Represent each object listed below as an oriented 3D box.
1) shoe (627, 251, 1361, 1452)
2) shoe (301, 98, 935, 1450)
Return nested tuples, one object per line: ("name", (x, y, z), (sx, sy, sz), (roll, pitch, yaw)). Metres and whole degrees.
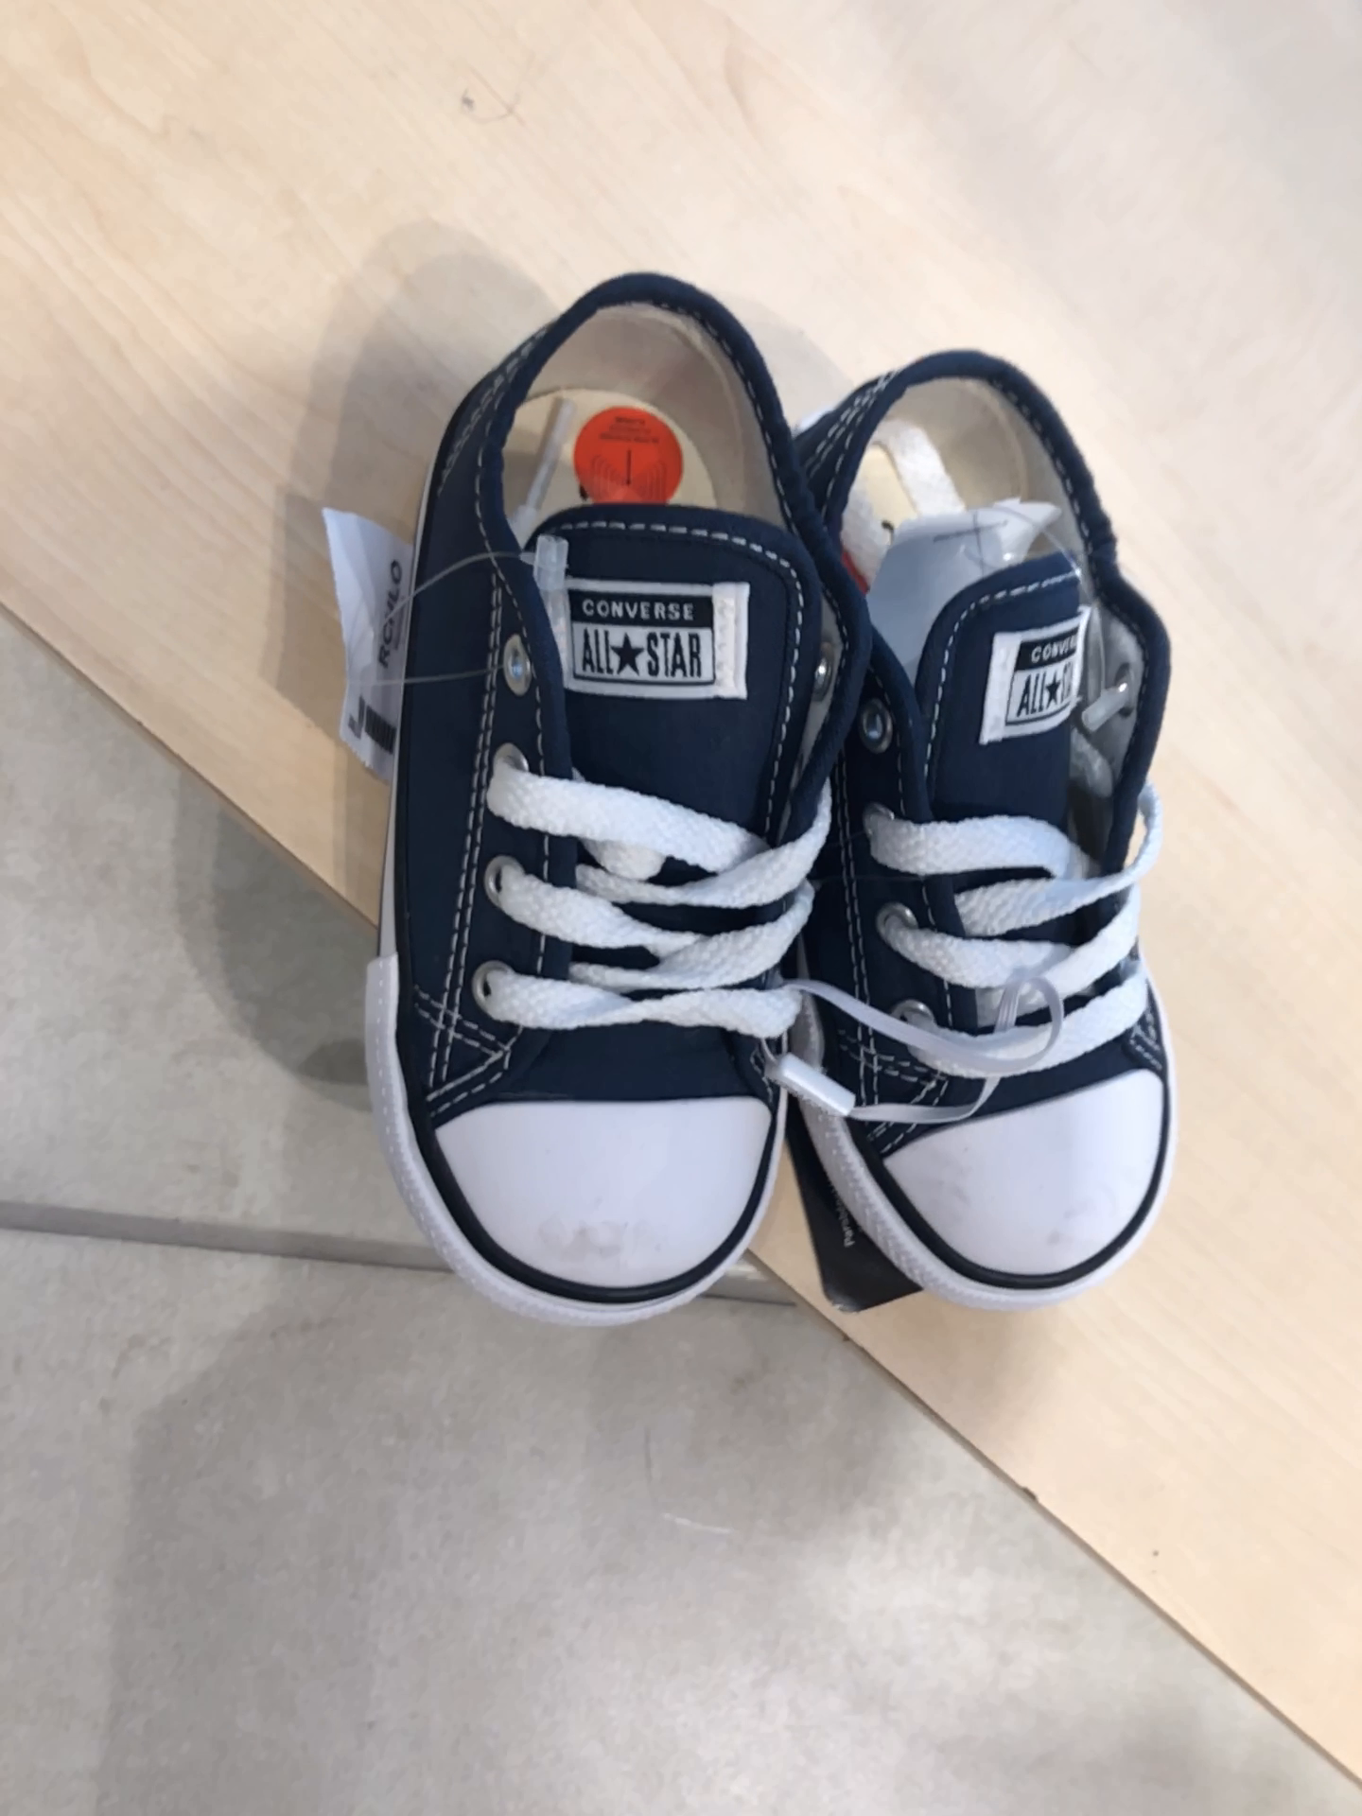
("shoe", (0.050, -0.012, 0.255), (0.080, 0.060, 0.170), (-8, 89, -19))
("shoe", (-0.012, -0.016, 0.231), (0.080, 0.060, 0.170), (2, 86, -18))
